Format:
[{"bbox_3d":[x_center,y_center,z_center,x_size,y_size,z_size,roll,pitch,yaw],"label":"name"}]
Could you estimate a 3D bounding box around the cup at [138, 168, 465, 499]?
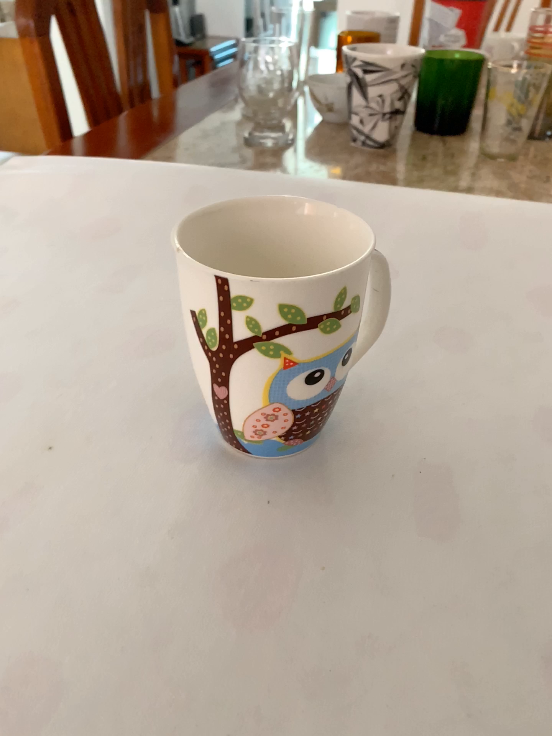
[{"bbox_3d":[0.010,-0.023,0.268,0.110,0.099,0.080,-23,43,-29],"label":"cup"}]
